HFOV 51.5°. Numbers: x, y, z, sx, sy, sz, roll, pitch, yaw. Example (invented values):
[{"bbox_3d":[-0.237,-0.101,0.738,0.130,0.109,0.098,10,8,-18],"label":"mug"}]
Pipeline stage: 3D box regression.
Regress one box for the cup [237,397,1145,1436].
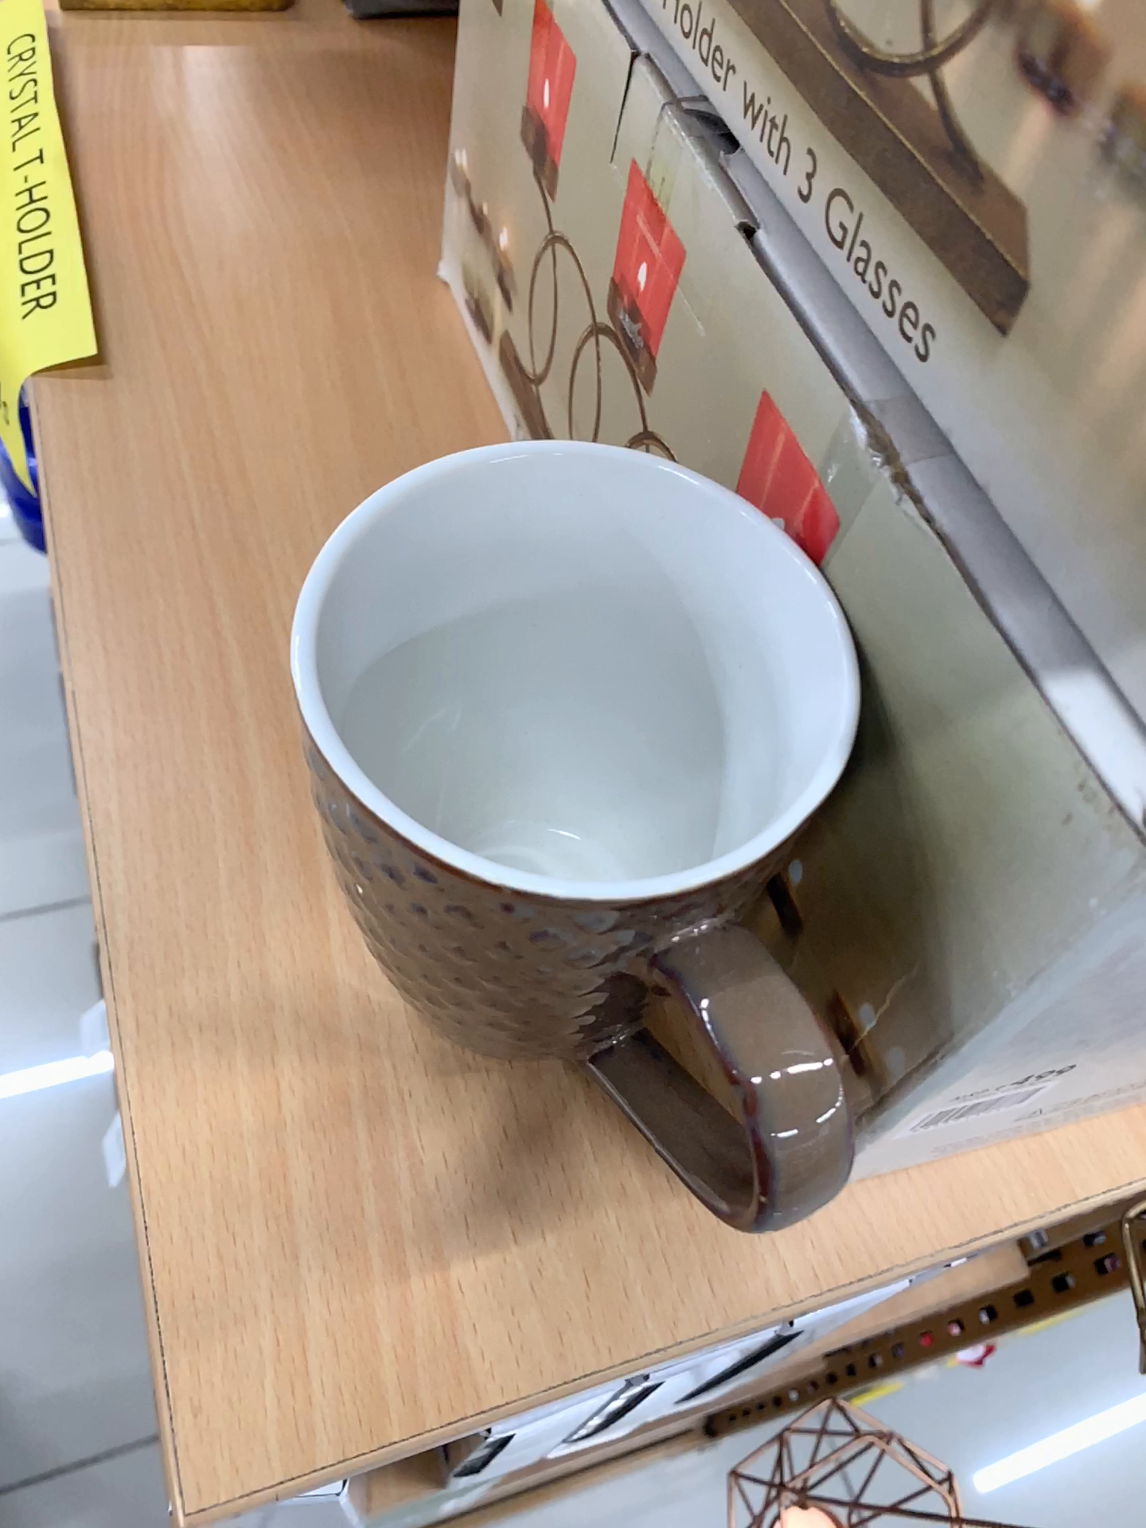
[{"bbox_3d":[0.006,0.022,0.201,0.090,0.090,0.130,-13,61,-20],"label":"cup"}]
